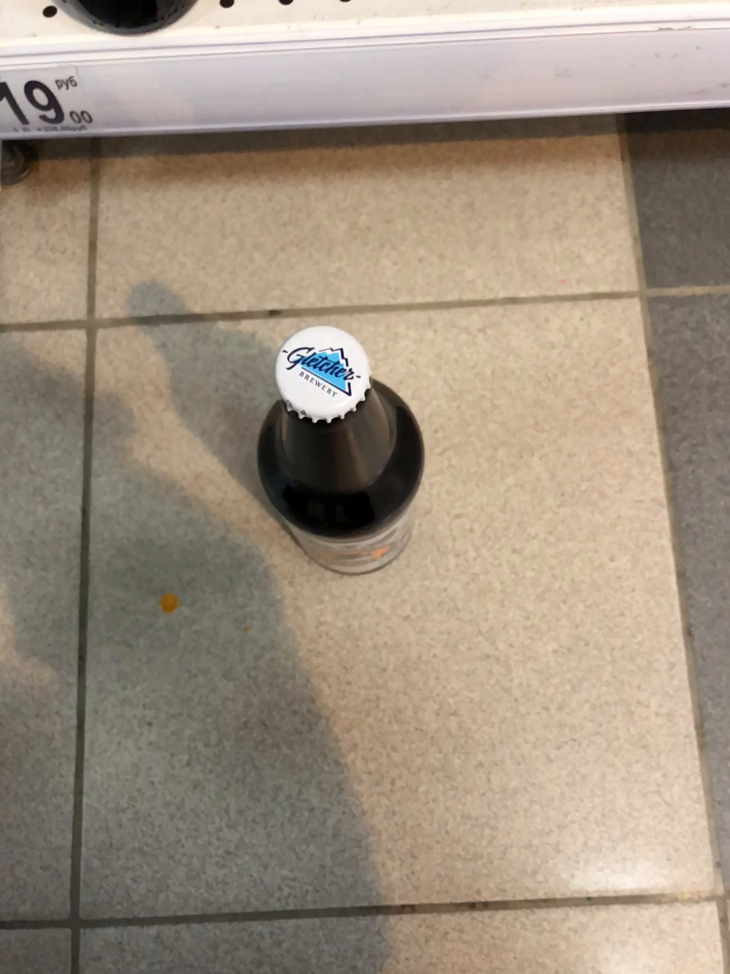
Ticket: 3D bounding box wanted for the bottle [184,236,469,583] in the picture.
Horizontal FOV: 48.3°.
[{"bbox_3d":[-0.008,-0.010,0.345,0.074,0.240,0.070,0,78,2],"label":"bottle"}]
